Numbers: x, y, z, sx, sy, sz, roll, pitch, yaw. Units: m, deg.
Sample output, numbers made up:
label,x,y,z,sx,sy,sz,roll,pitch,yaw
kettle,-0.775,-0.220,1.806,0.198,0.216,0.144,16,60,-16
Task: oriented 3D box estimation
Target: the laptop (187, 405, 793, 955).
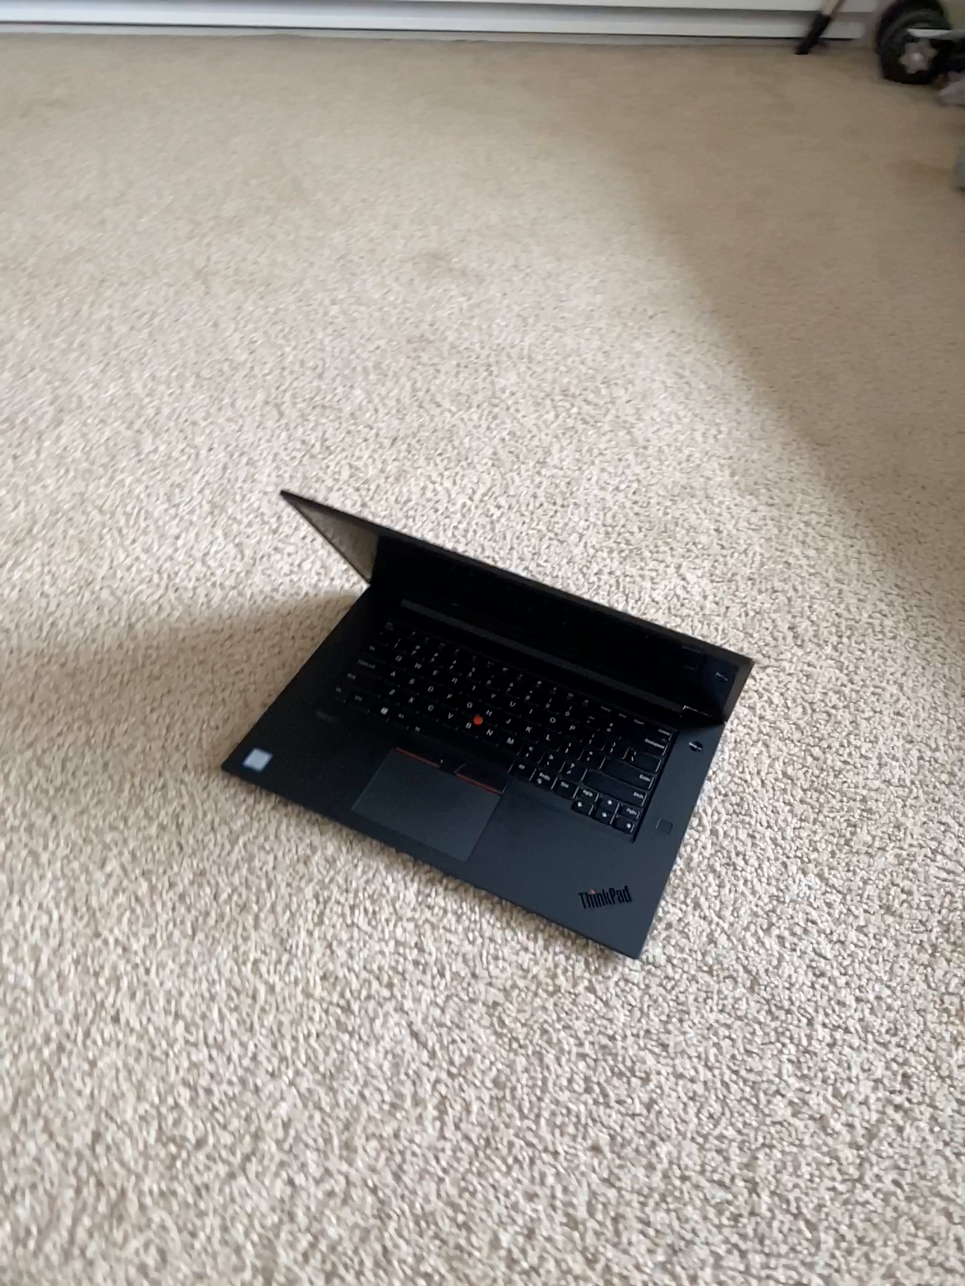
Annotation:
label,x,y,z,sx,sy,sz,roll,pitch,yaw
laptop,0.009,0.015,0.756,0.355,0.198,0.244,21,49,14
